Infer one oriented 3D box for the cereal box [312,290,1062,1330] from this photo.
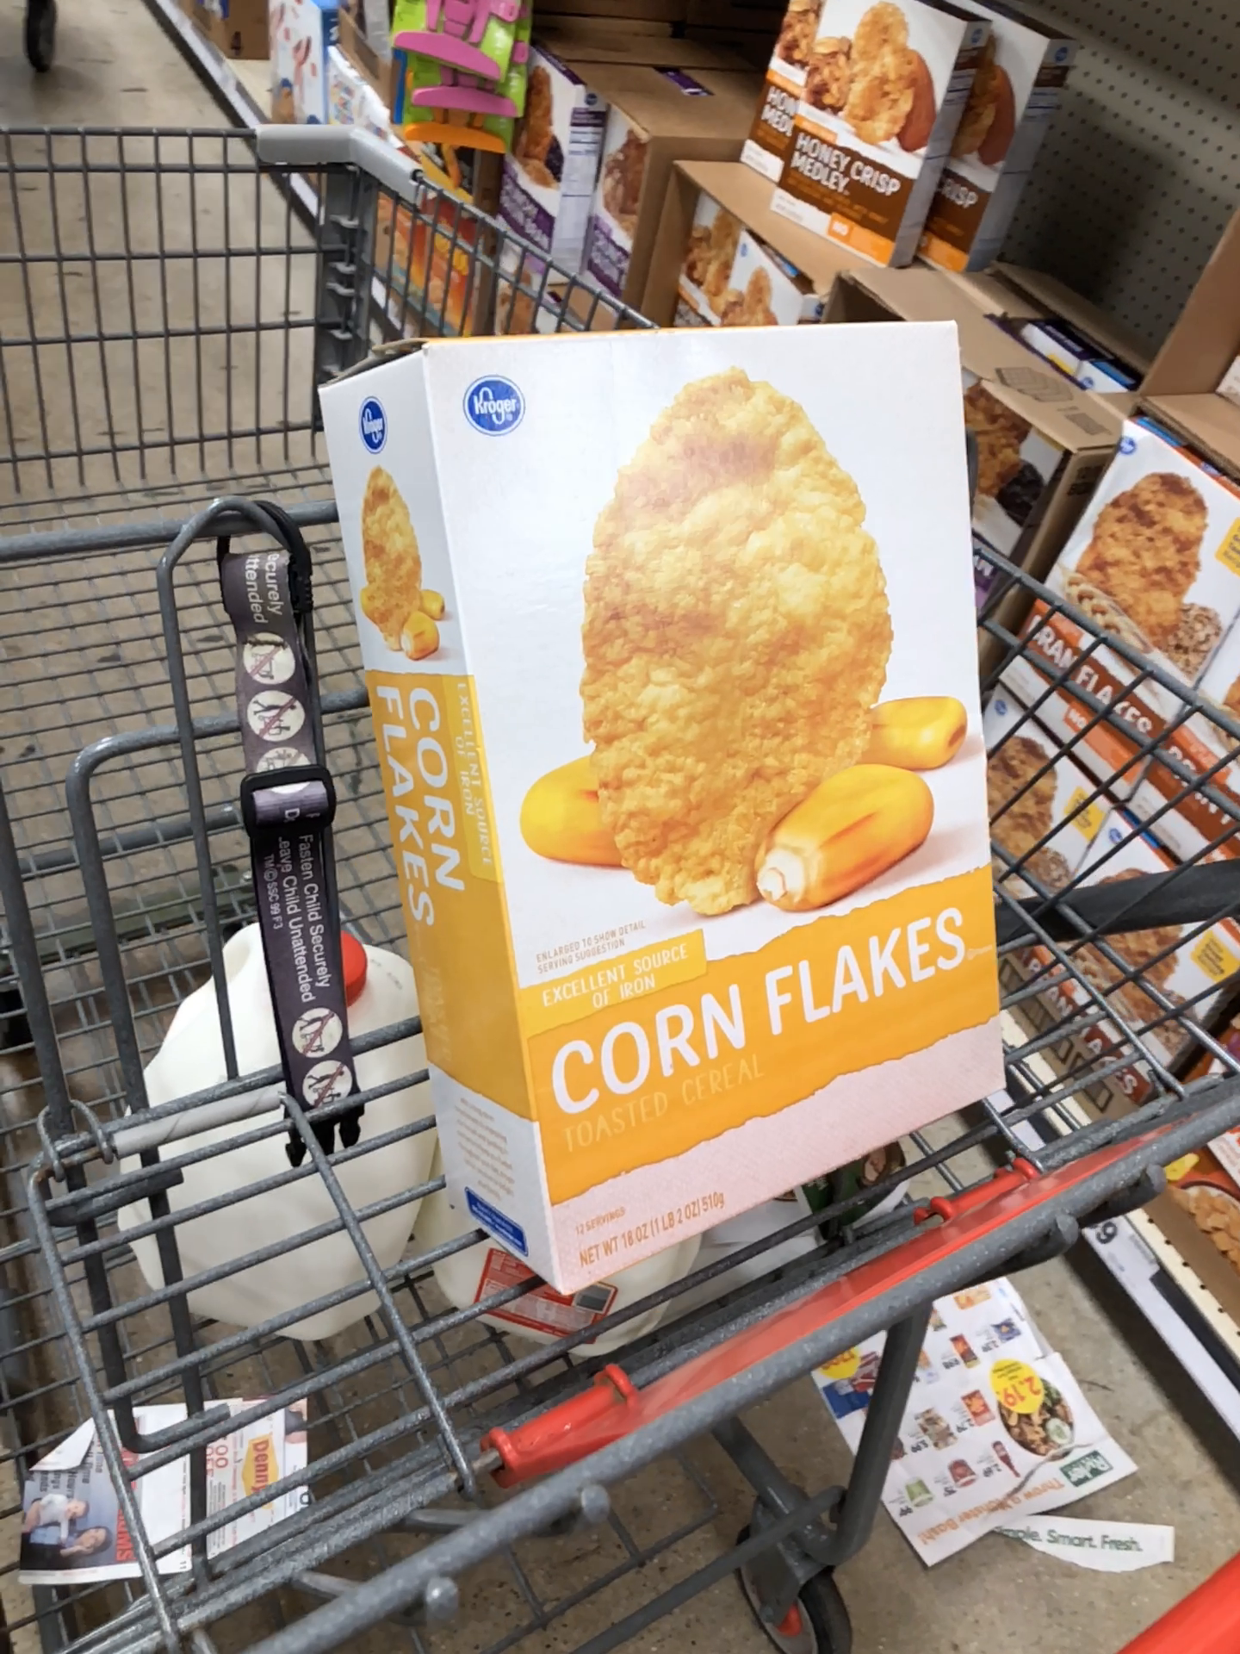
[{"bbox_3d":[0.041,-0.019,0.482,0.230,0.300,0.080,-16,17,-30],"label":"cereal box"}]
